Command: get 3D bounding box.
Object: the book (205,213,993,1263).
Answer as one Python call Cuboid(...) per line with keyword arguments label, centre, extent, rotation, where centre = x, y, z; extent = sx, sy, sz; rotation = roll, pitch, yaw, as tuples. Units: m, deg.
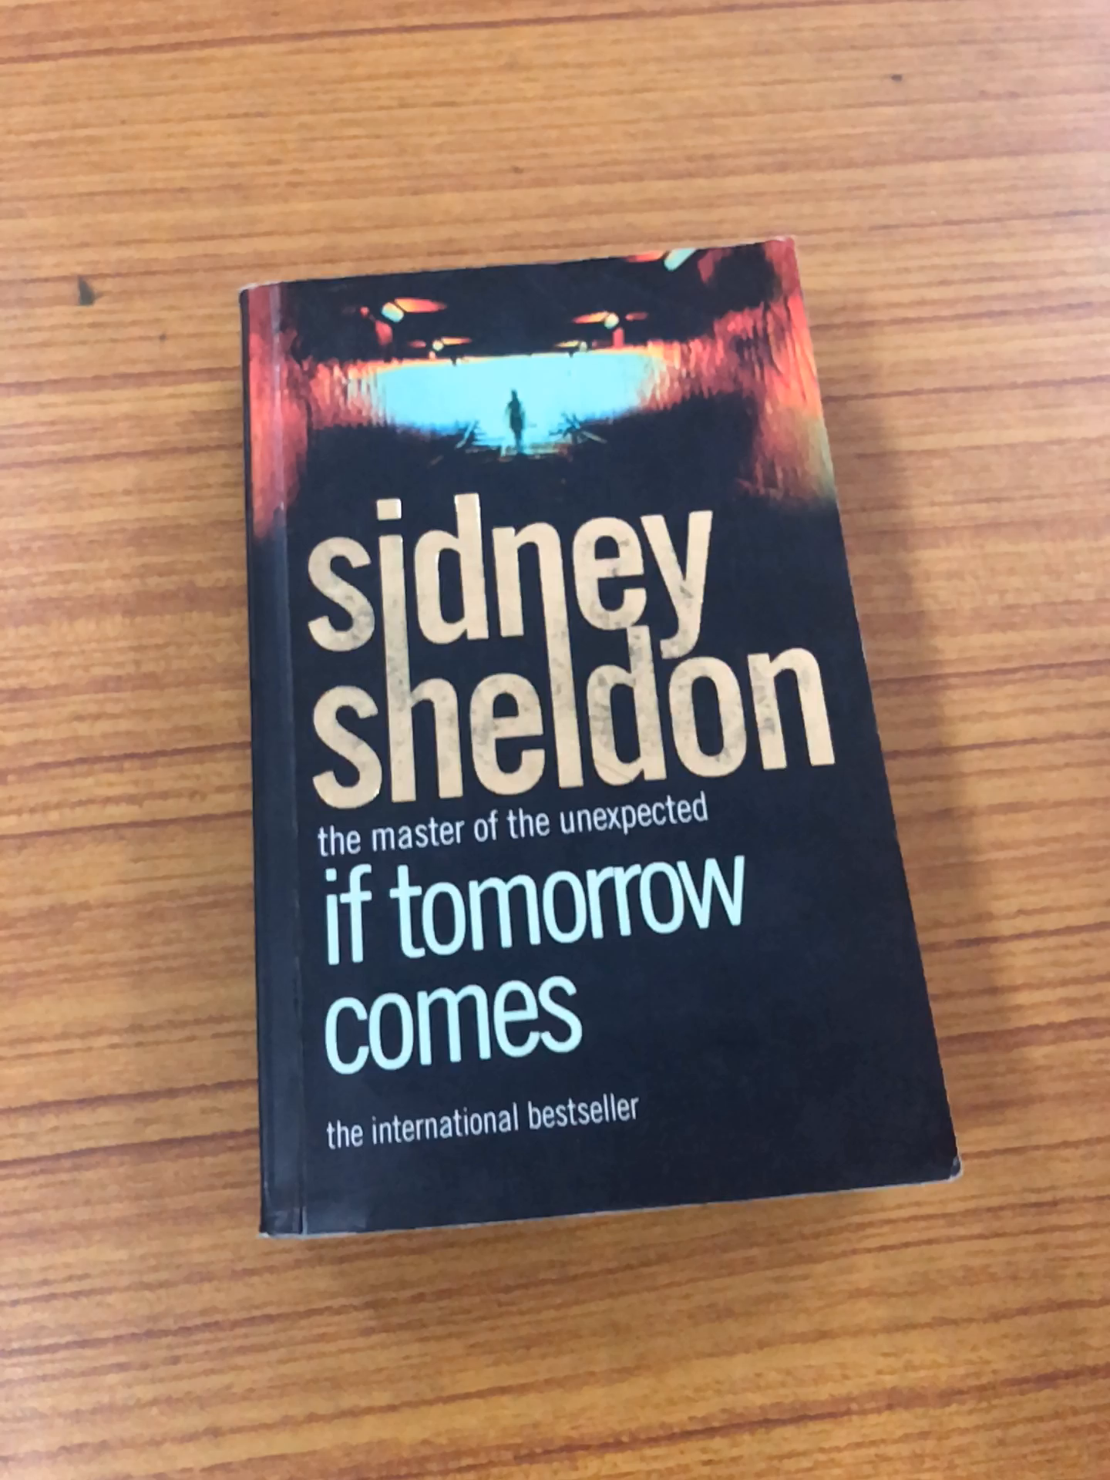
Cuboid(label="book", centre=(0.000, -0.008, 0.226), extent=(0.114, 0.034, 0.176), rotation=(-5, 72, -3))
